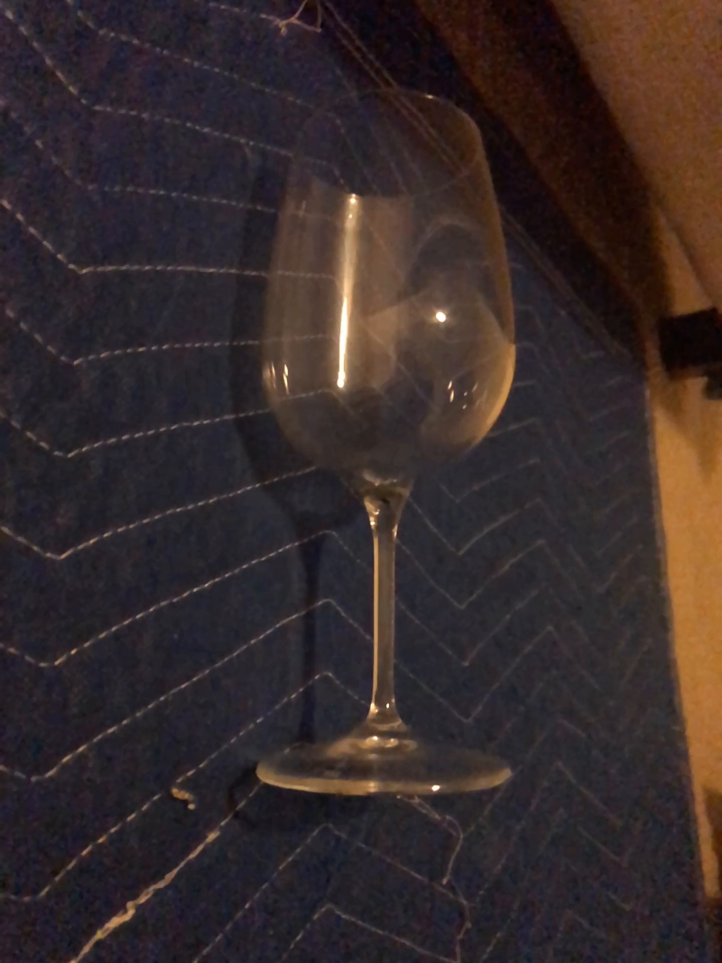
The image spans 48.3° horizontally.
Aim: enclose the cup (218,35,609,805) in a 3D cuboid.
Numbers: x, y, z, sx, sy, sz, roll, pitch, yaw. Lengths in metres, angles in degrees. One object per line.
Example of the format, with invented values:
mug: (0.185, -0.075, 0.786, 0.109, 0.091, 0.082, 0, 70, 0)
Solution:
cup: (0.019, -0.014, 0.267, 0.081, 0.089, 0.210, 19, 67, -55)
